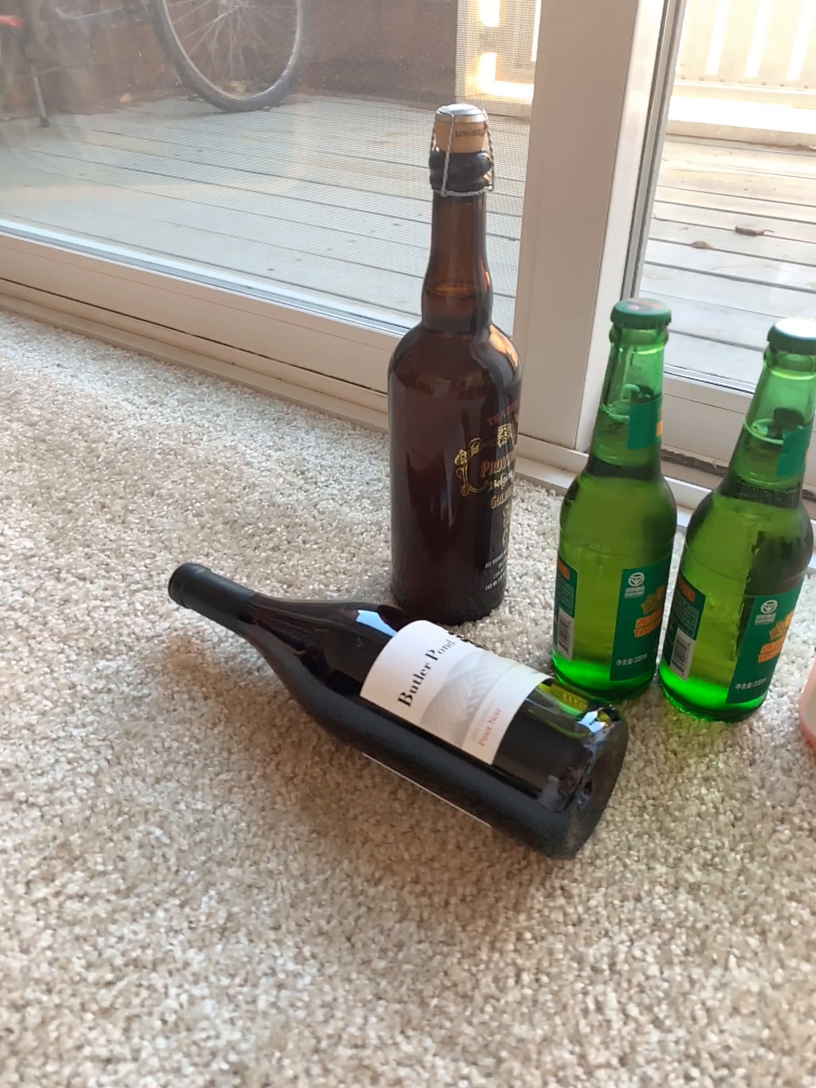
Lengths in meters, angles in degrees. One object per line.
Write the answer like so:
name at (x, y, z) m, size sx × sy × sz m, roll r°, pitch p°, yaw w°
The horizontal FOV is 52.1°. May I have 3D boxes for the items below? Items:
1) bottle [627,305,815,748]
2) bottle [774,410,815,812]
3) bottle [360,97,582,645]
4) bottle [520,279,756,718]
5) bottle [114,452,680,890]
bottle at (0.182, -0.004, 0.448) m, size 0.070 × 0.219 × 0.070 m, roll 1°, pitch 34°, yaw 0°
bottle at (0.250, 0.036, 0.418) m, size 0.070 × 0.179 × 0.070 m, roll 1°, pitch 34°, yaw 0°
bottle at (0.030, -0.087, 0.481) m, size 0.080 × 0.288 × 0.080 m, roll 1°, pitch 34°, yaw 0°
bottle at (0.113, -0.018, 0.436) m, size 0.070 × 0.209 × 0.070 m, roll 1°, pitch 34°, yaw 0°
bottle at (-0.018, 0.051, 0.427) m, size 0.281 × 0.080 × 0.070 m, roll 25°, pitch 41°, yaw 21°
